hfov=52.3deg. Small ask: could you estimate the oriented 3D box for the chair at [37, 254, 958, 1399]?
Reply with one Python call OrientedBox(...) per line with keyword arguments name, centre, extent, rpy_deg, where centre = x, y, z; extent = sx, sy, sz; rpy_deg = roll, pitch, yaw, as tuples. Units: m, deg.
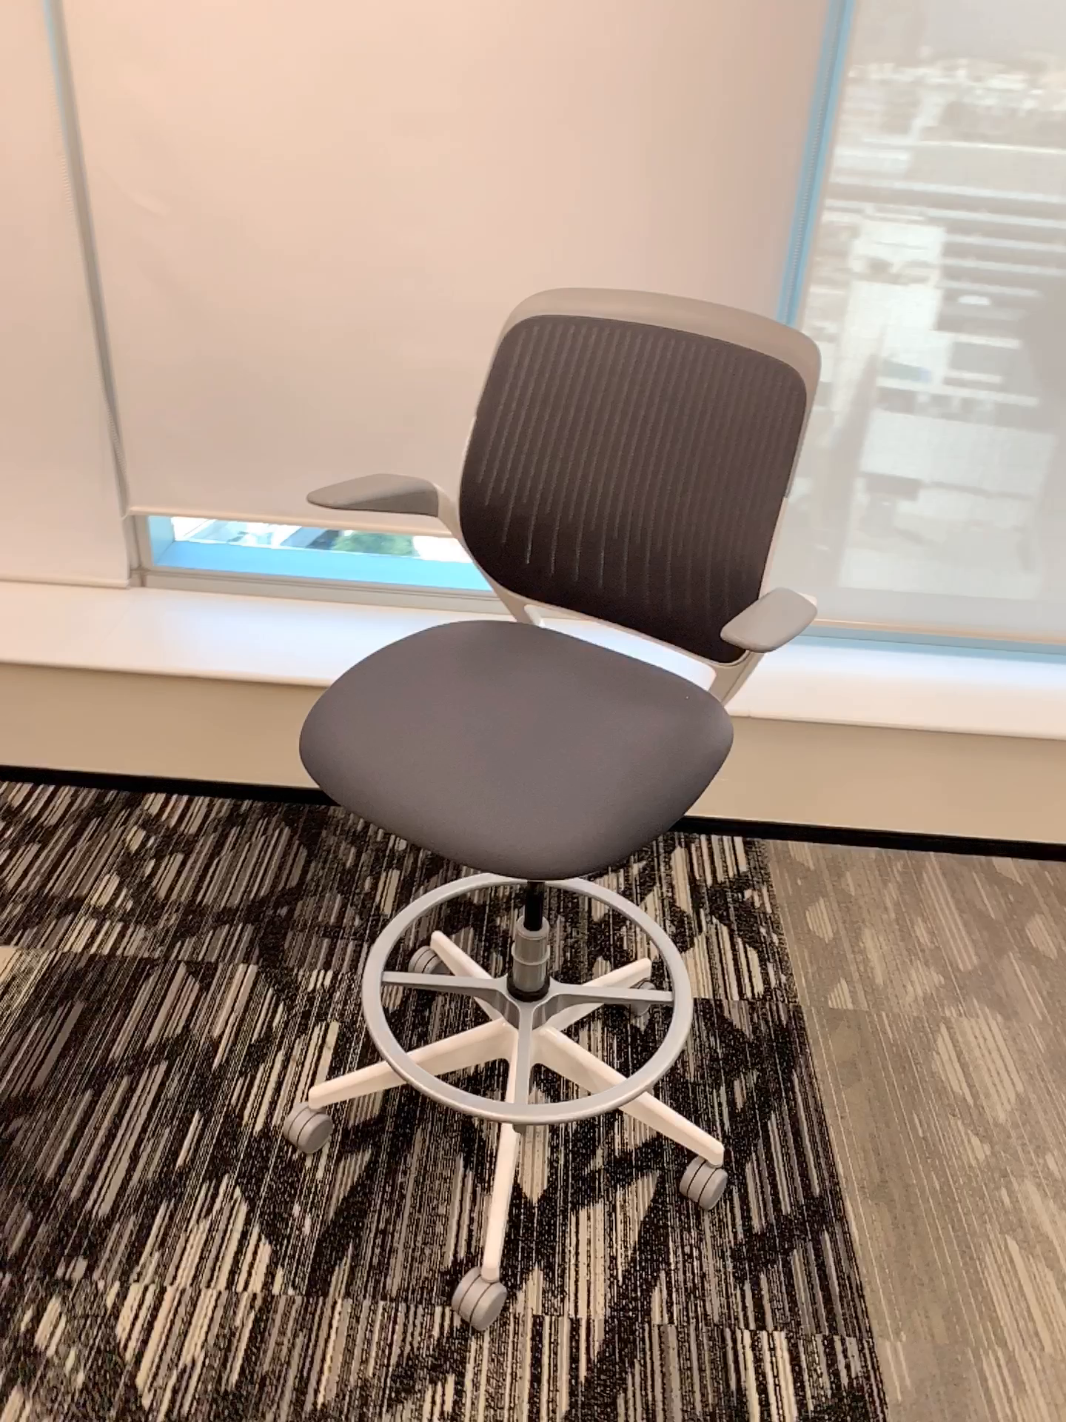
OrientedBox(name="chair", centre=(-0.043, 0.091, 1.442), extent=(0.692, 1.140, 0.694), rpy_deg=(25, 37, 30))
